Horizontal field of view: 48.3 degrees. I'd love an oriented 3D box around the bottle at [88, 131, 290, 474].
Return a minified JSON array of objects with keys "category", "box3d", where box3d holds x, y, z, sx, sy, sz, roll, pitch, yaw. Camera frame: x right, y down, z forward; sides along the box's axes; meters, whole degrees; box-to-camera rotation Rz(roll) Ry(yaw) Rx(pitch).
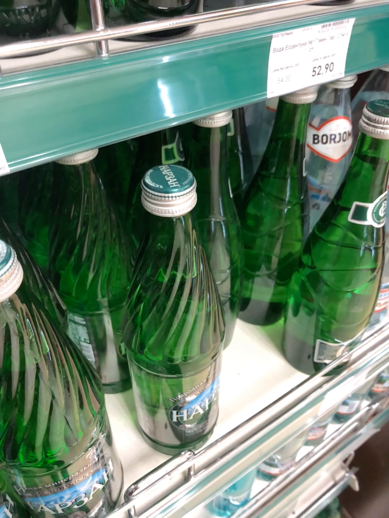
[{"category":"bottle","box3d":[-0.004,0.047,0.295,0.080,0.240,0.060,-27,49,-27]}]
